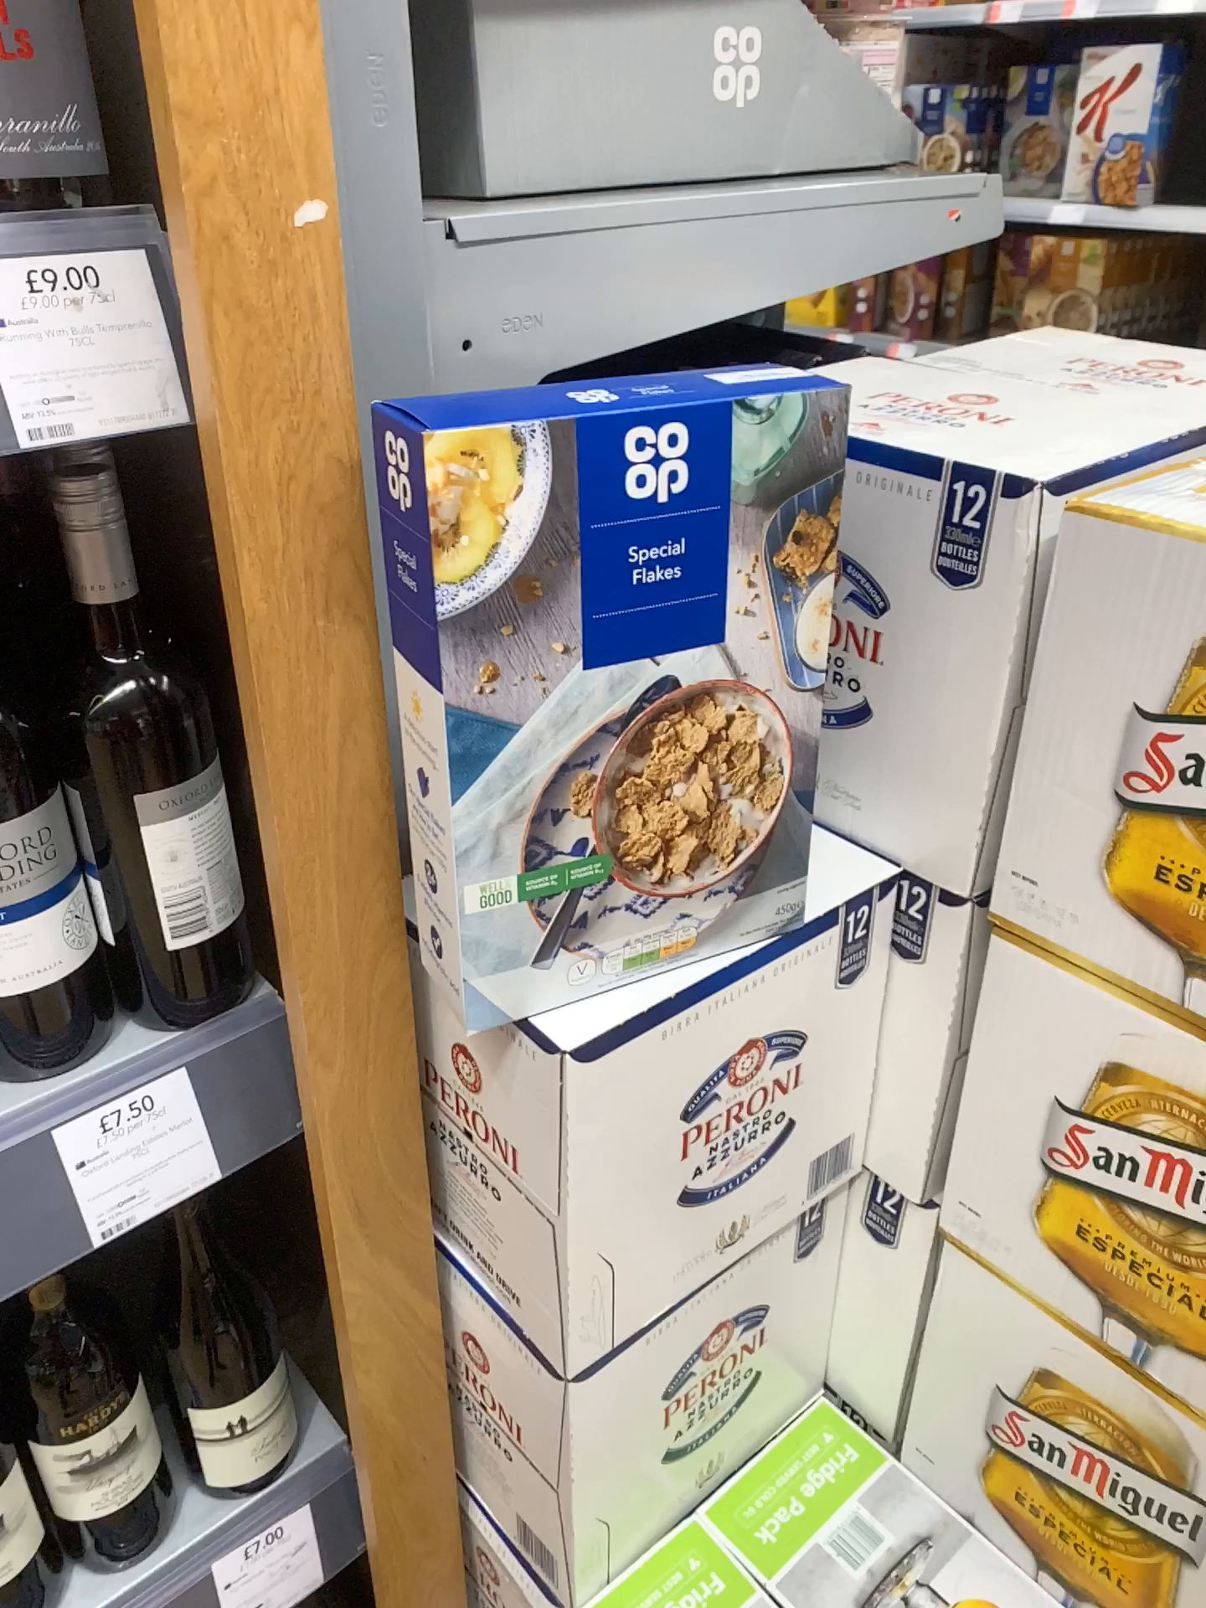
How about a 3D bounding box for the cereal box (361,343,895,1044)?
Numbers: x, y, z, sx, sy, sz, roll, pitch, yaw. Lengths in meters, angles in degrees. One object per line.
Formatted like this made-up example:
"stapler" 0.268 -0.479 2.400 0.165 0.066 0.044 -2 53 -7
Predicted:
"cereal box" 0.014 -0.050 0.549 0.200 0.267 0.071 -15 32 -23
